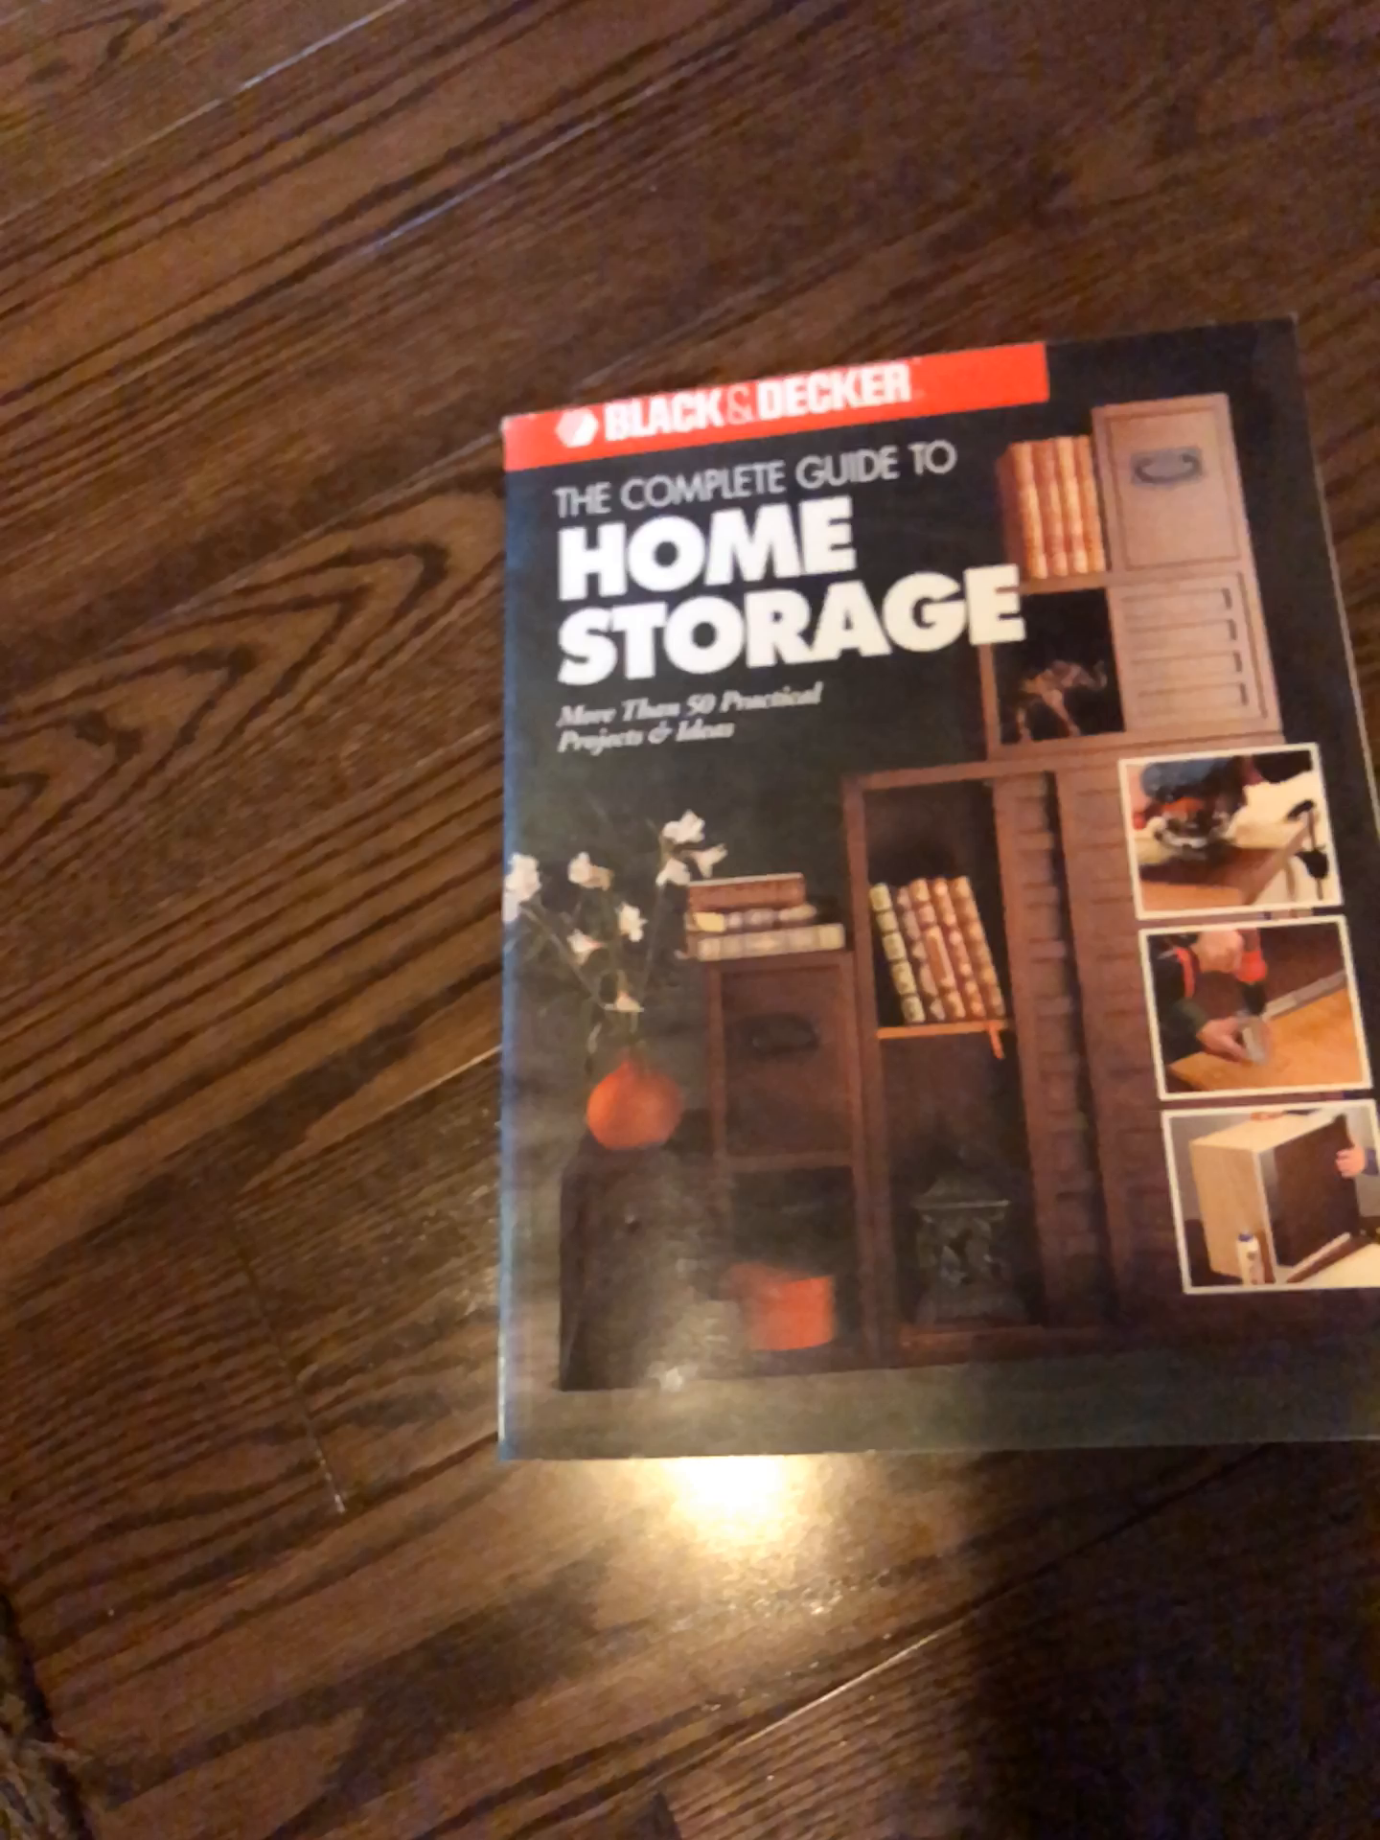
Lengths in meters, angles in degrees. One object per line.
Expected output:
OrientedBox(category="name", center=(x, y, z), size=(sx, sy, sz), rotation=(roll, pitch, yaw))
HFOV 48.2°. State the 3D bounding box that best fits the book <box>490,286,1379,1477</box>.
OrientedBox(category="book", center=(0.057, -0.017, 0.385), size=(0.215, 0.020, 0.287), rotation=(-5, 73, 8))
